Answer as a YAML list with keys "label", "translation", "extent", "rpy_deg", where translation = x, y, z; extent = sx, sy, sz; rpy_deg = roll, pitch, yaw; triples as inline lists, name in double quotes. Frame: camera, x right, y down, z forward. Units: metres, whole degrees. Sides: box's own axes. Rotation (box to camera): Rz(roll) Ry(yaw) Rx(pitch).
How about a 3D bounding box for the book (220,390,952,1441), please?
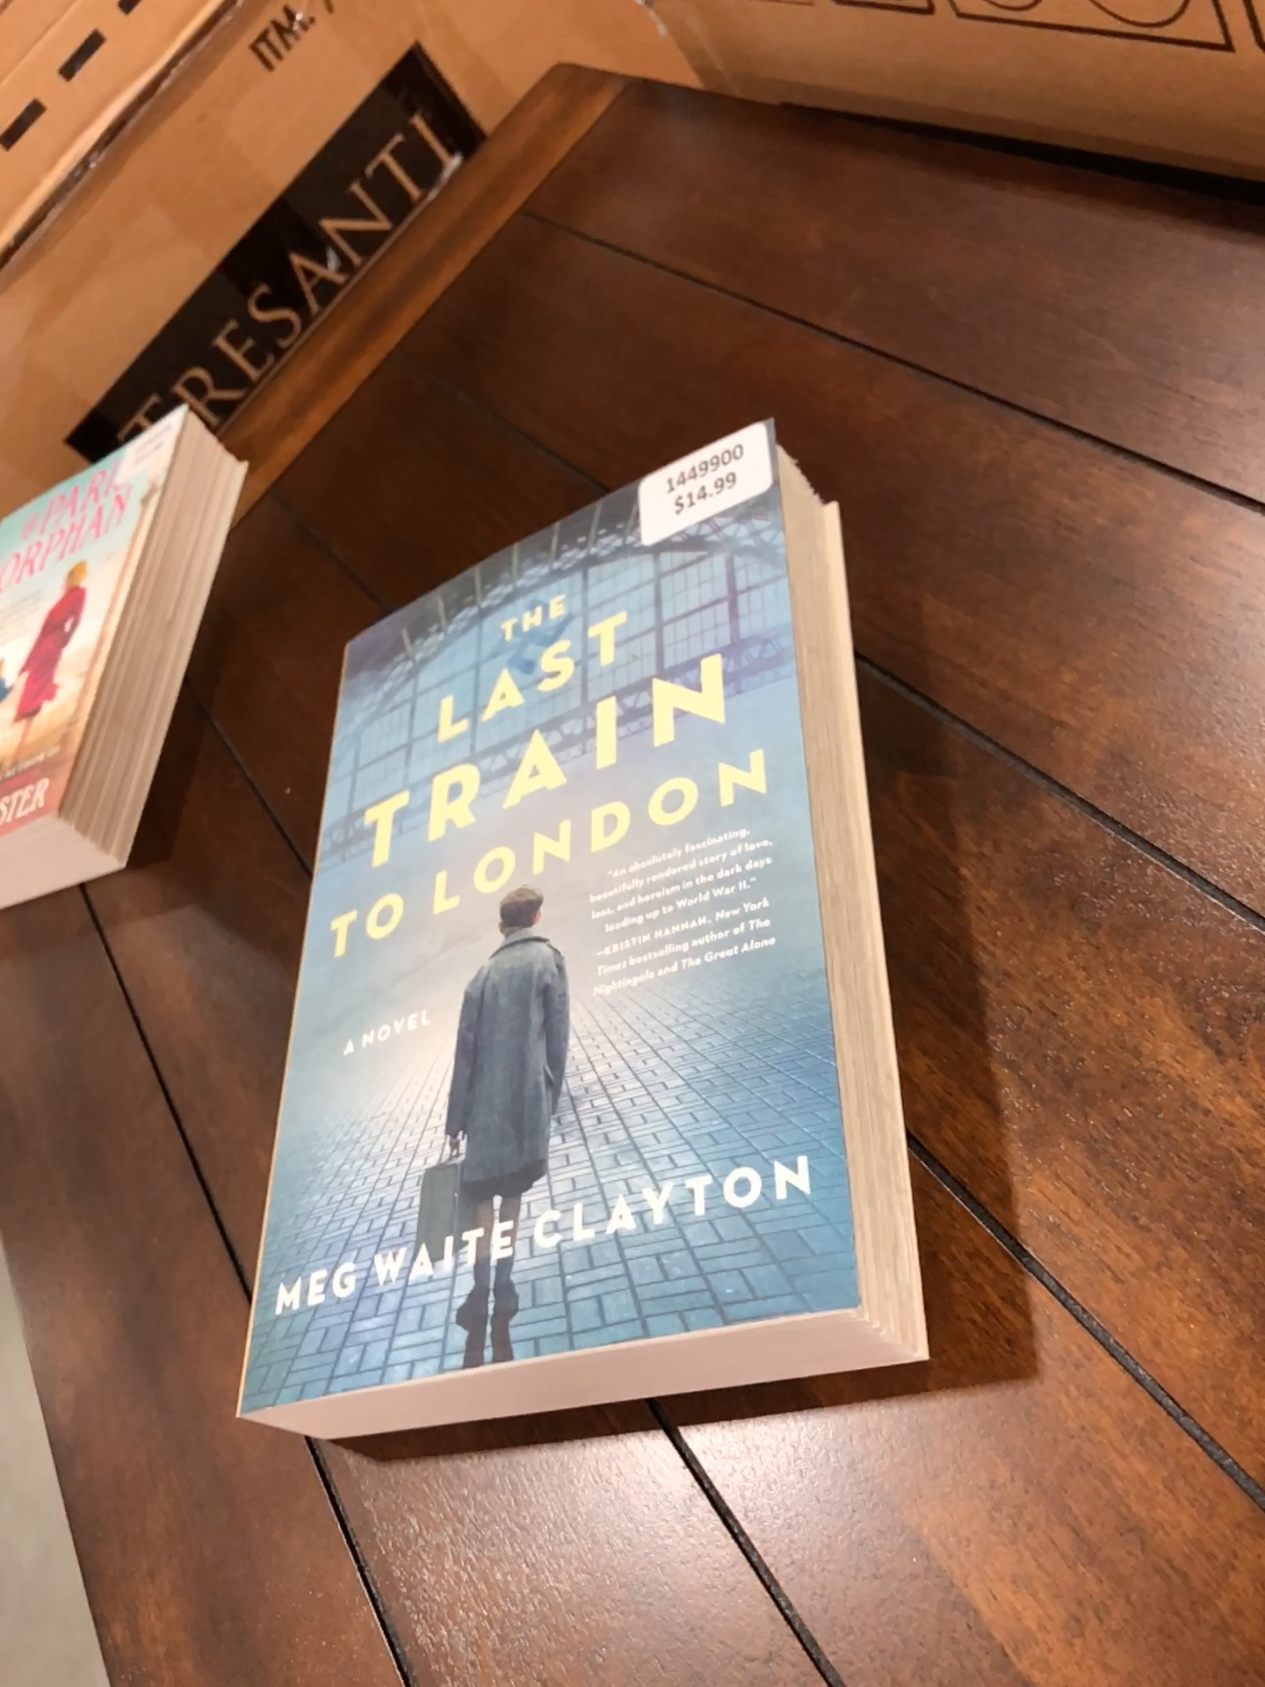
- label: "book"
  translation: [-0.015, 0.015, 0.338]
  extent: [0.151, 0.041, 0.220]
  rpy_deg: [-21, 52, 30]
